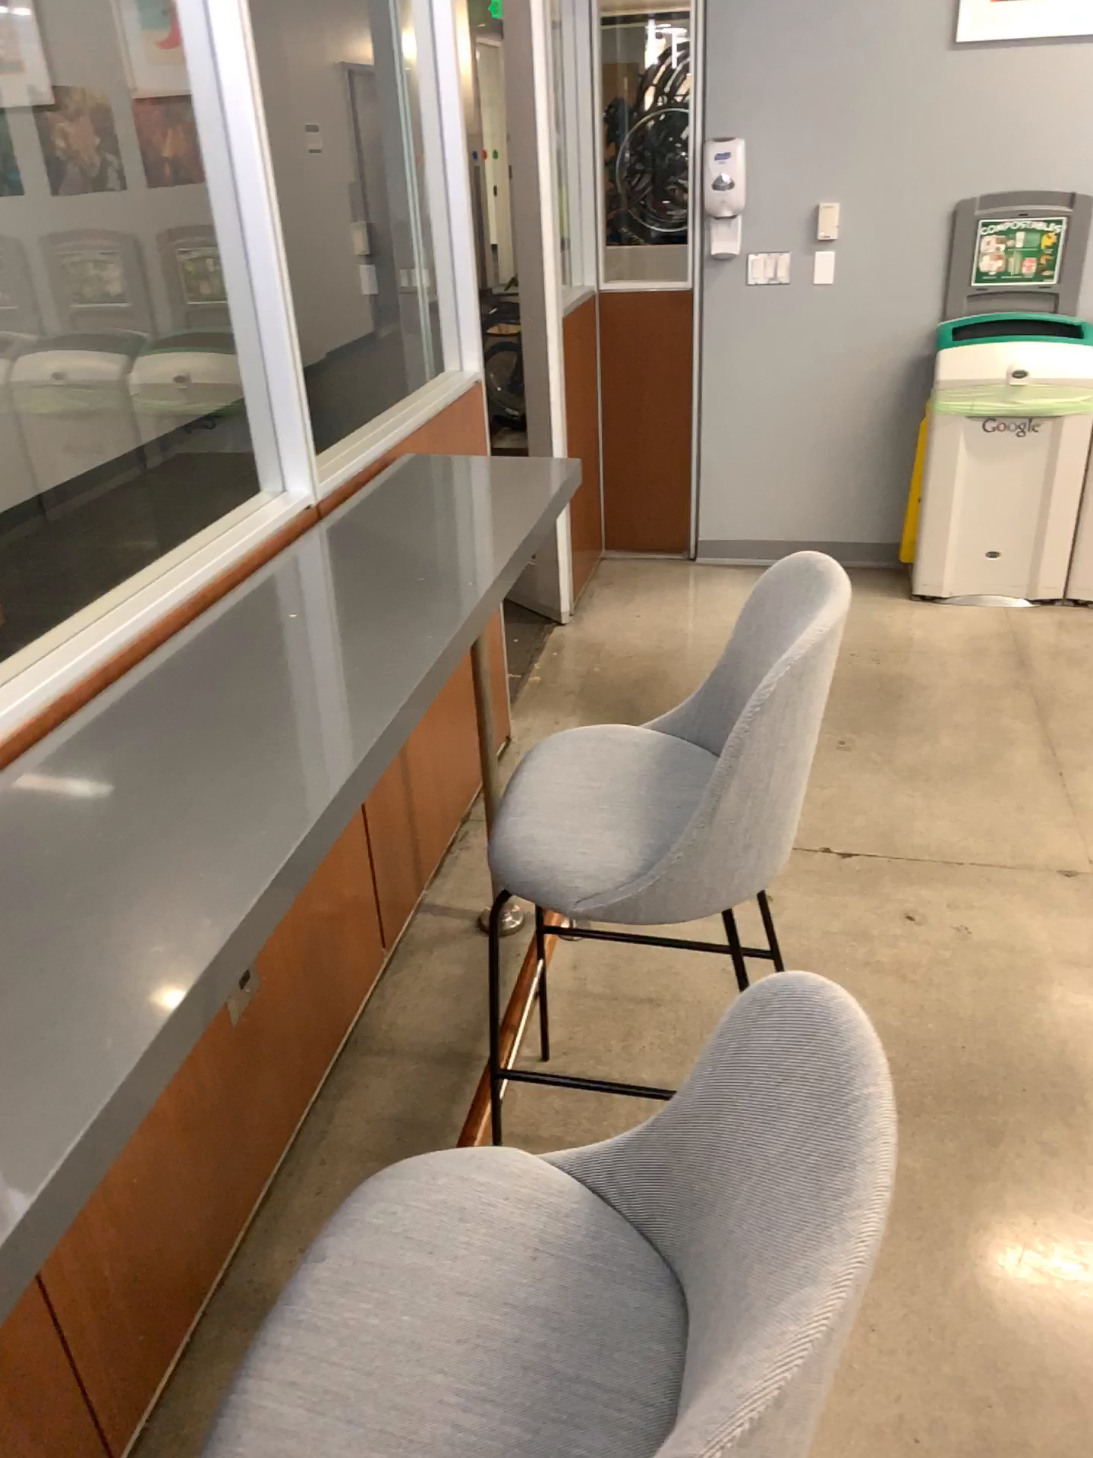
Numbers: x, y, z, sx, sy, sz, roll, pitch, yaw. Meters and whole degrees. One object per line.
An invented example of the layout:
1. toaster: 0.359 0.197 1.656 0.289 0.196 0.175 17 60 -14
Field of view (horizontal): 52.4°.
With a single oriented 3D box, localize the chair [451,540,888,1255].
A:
1. chair: 0.182 0.276 1.723 0.510 1.034 0.412 0 28 6
